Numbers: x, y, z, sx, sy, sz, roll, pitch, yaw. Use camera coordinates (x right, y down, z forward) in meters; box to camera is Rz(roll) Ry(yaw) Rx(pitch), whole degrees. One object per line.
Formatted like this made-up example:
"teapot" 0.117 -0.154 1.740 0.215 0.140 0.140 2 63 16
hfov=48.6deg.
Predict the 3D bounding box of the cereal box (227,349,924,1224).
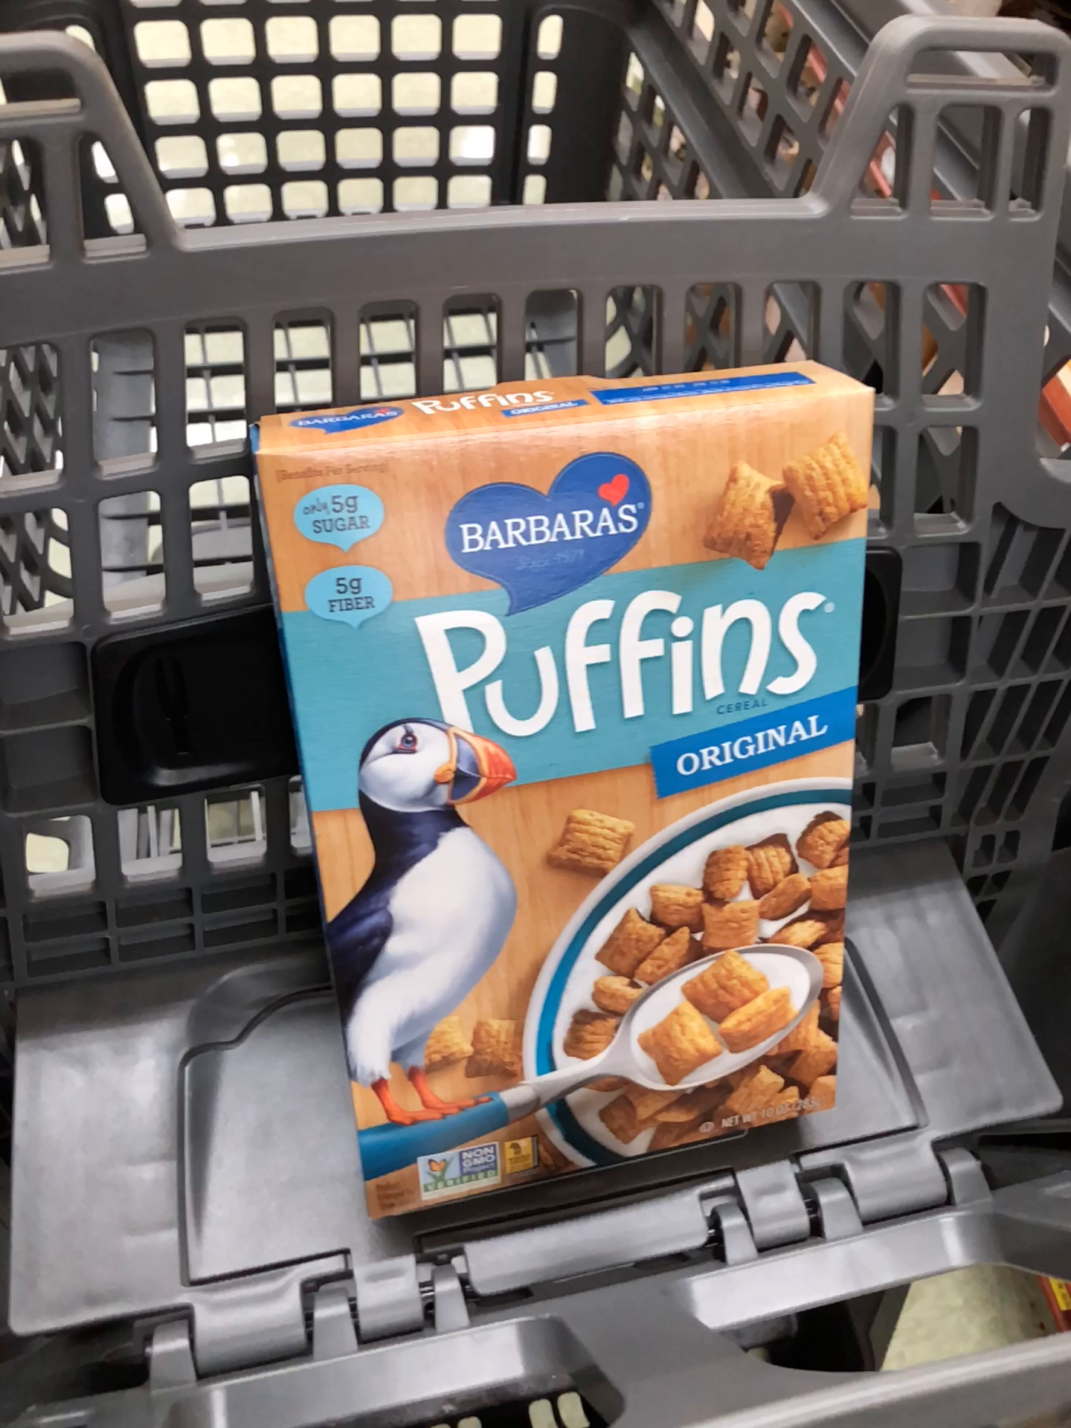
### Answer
"cereal box" 0.018 0.027 0.386 0.190 0.260 0.050 -9 24 -12
